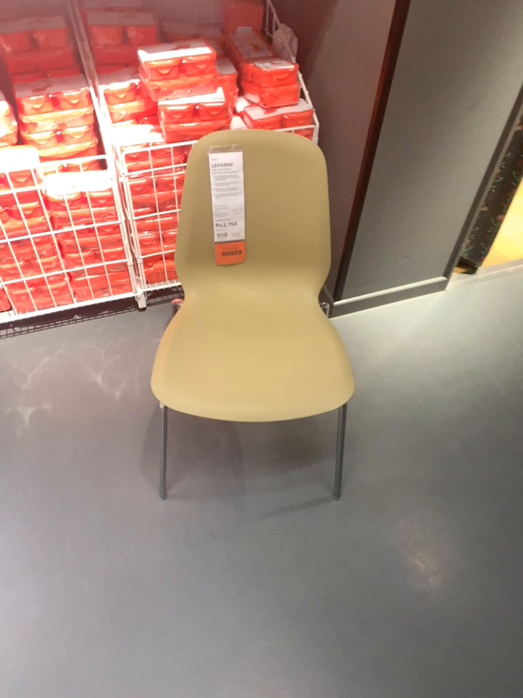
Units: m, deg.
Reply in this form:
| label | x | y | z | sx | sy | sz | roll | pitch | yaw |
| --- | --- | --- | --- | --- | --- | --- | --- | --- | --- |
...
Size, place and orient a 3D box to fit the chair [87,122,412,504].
| label | x | y | z | sx | sy | sz | roll | pitch | yaw |
| --- | --- | --- | --- | --- | --- | --- | --- | --- | --- |
| chair | -0.034 | -0.046 | 1.267 | 0.500 | 0.728 | 0.552 | 2 | 50 | -2 |
